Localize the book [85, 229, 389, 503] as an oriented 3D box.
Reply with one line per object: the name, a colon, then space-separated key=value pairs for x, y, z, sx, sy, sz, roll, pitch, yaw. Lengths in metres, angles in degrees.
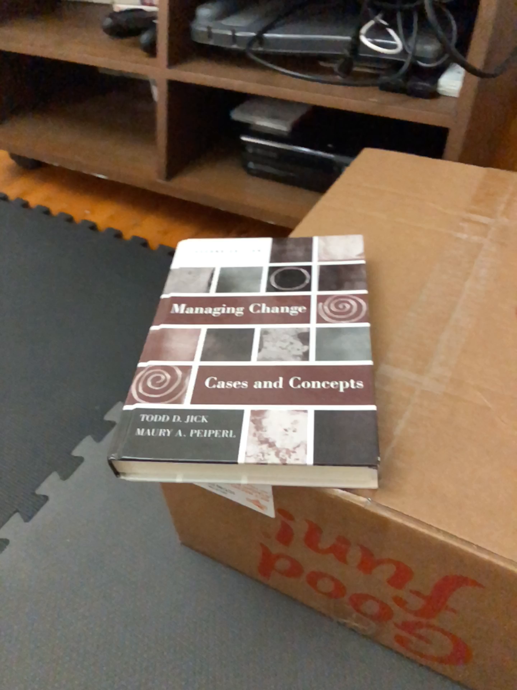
book: x=-0.004 y=-0.004 z=0.436 sx=0.180 sy=0.030 sz=0.252 roll=1 pitch=45 yaw=6
